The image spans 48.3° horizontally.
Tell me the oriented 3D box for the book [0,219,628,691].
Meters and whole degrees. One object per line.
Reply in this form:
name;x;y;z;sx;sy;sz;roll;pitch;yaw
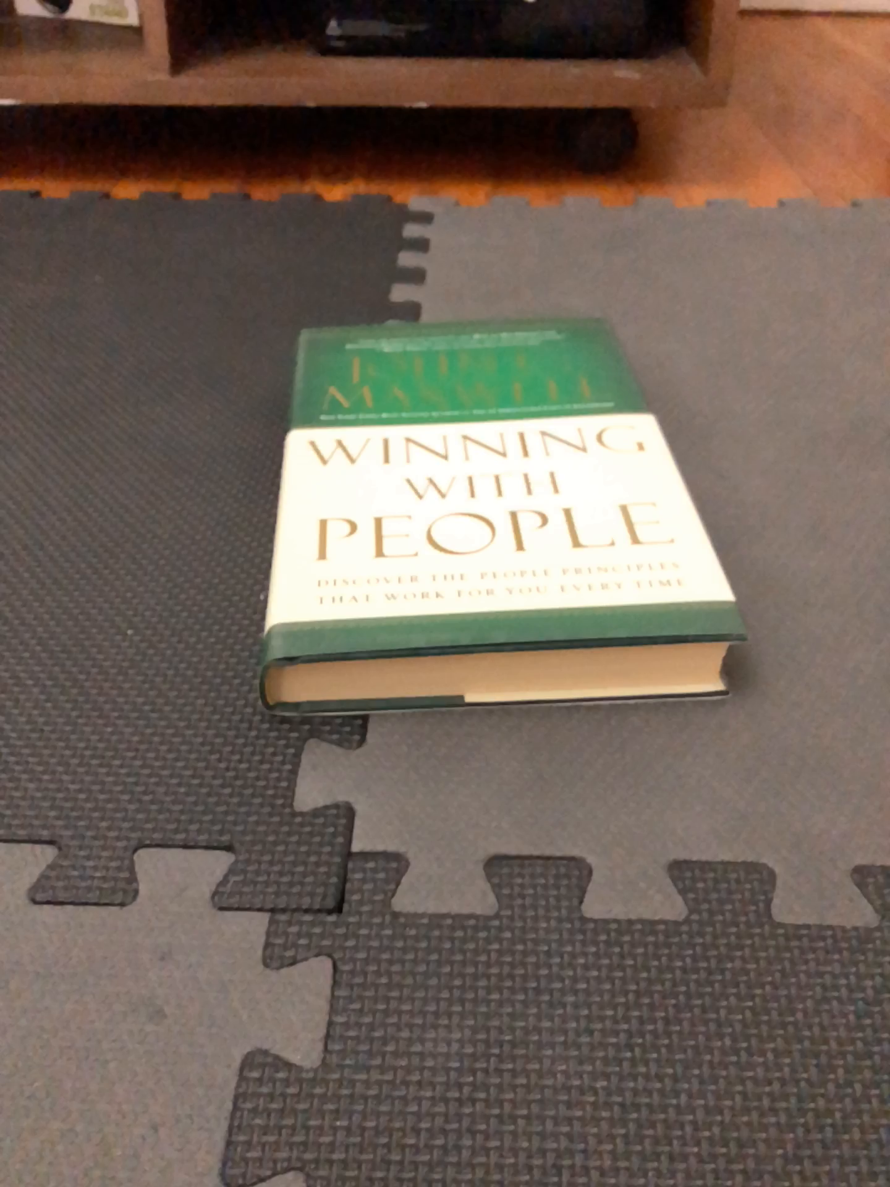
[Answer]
book;-0.055;-0.079;0.384;0.200;0.030;0.292;-1;39;-1
